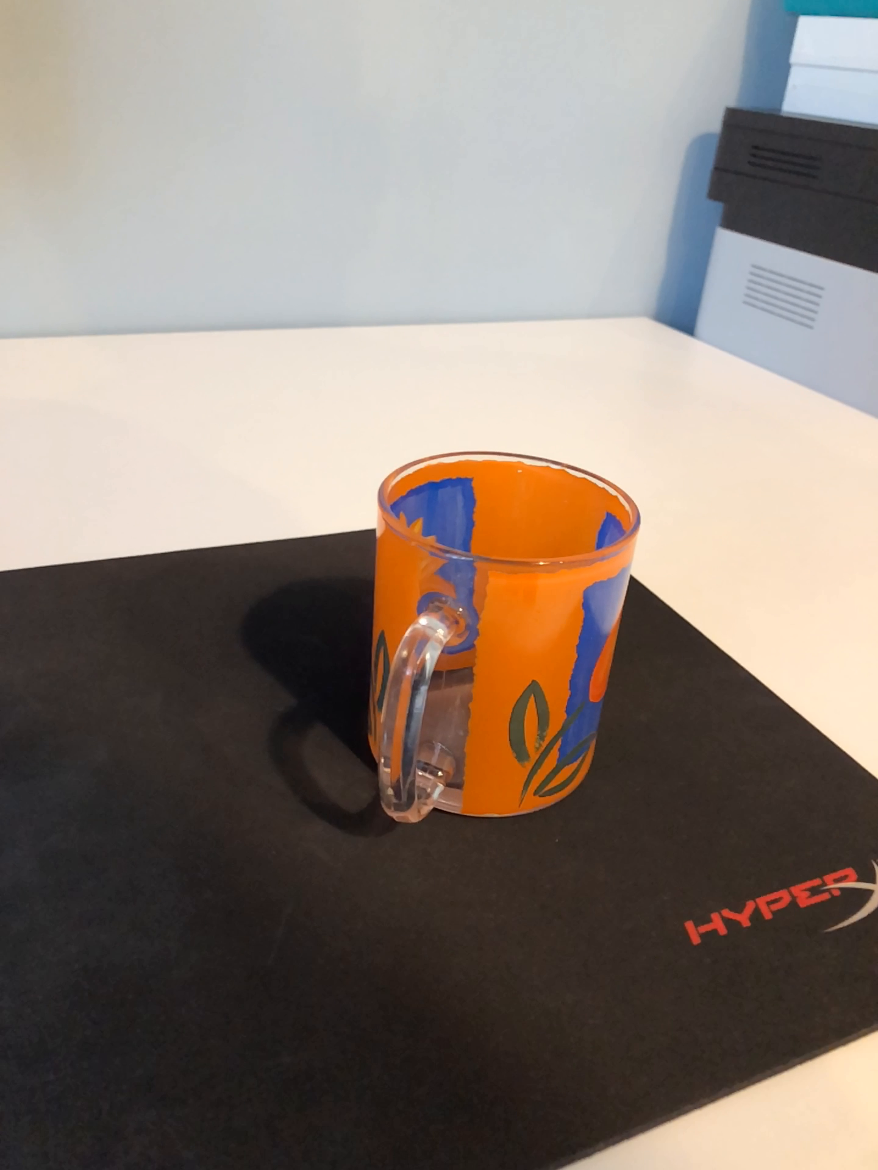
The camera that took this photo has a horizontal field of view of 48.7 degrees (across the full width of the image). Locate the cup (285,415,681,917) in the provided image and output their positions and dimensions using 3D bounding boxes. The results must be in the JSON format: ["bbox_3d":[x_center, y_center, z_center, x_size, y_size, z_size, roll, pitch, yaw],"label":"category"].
[{"bbox_3d":[0.016,0.015,0.293,0.075,0.089,0.114,16,30,17],"label":"cup"}]
